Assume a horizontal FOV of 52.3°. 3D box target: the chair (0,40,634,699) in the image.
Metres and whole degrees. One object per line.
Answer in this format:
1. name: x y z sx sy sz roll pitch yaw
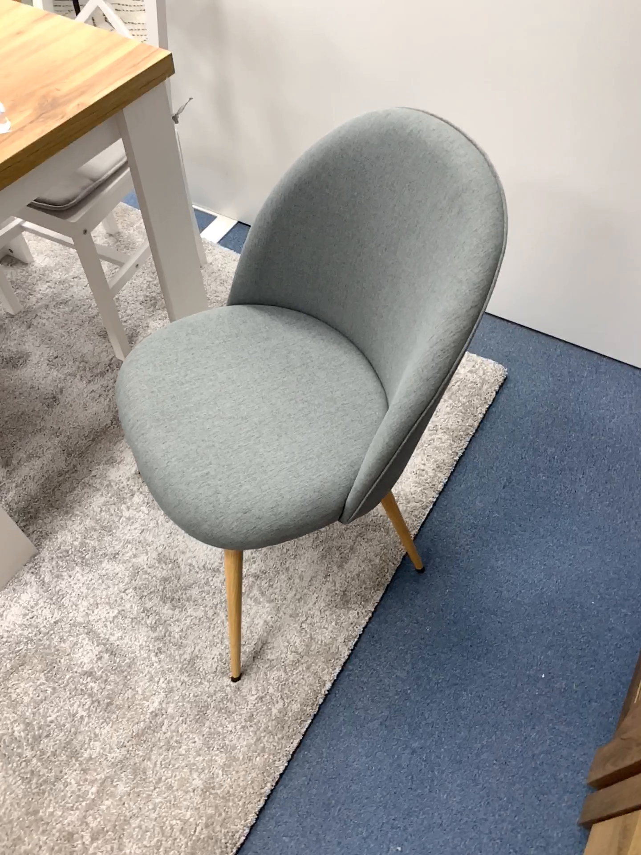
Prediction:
1. chair: -0.049 -0.054 1.041 0.570 0.738 0.531 -25 58 -17
